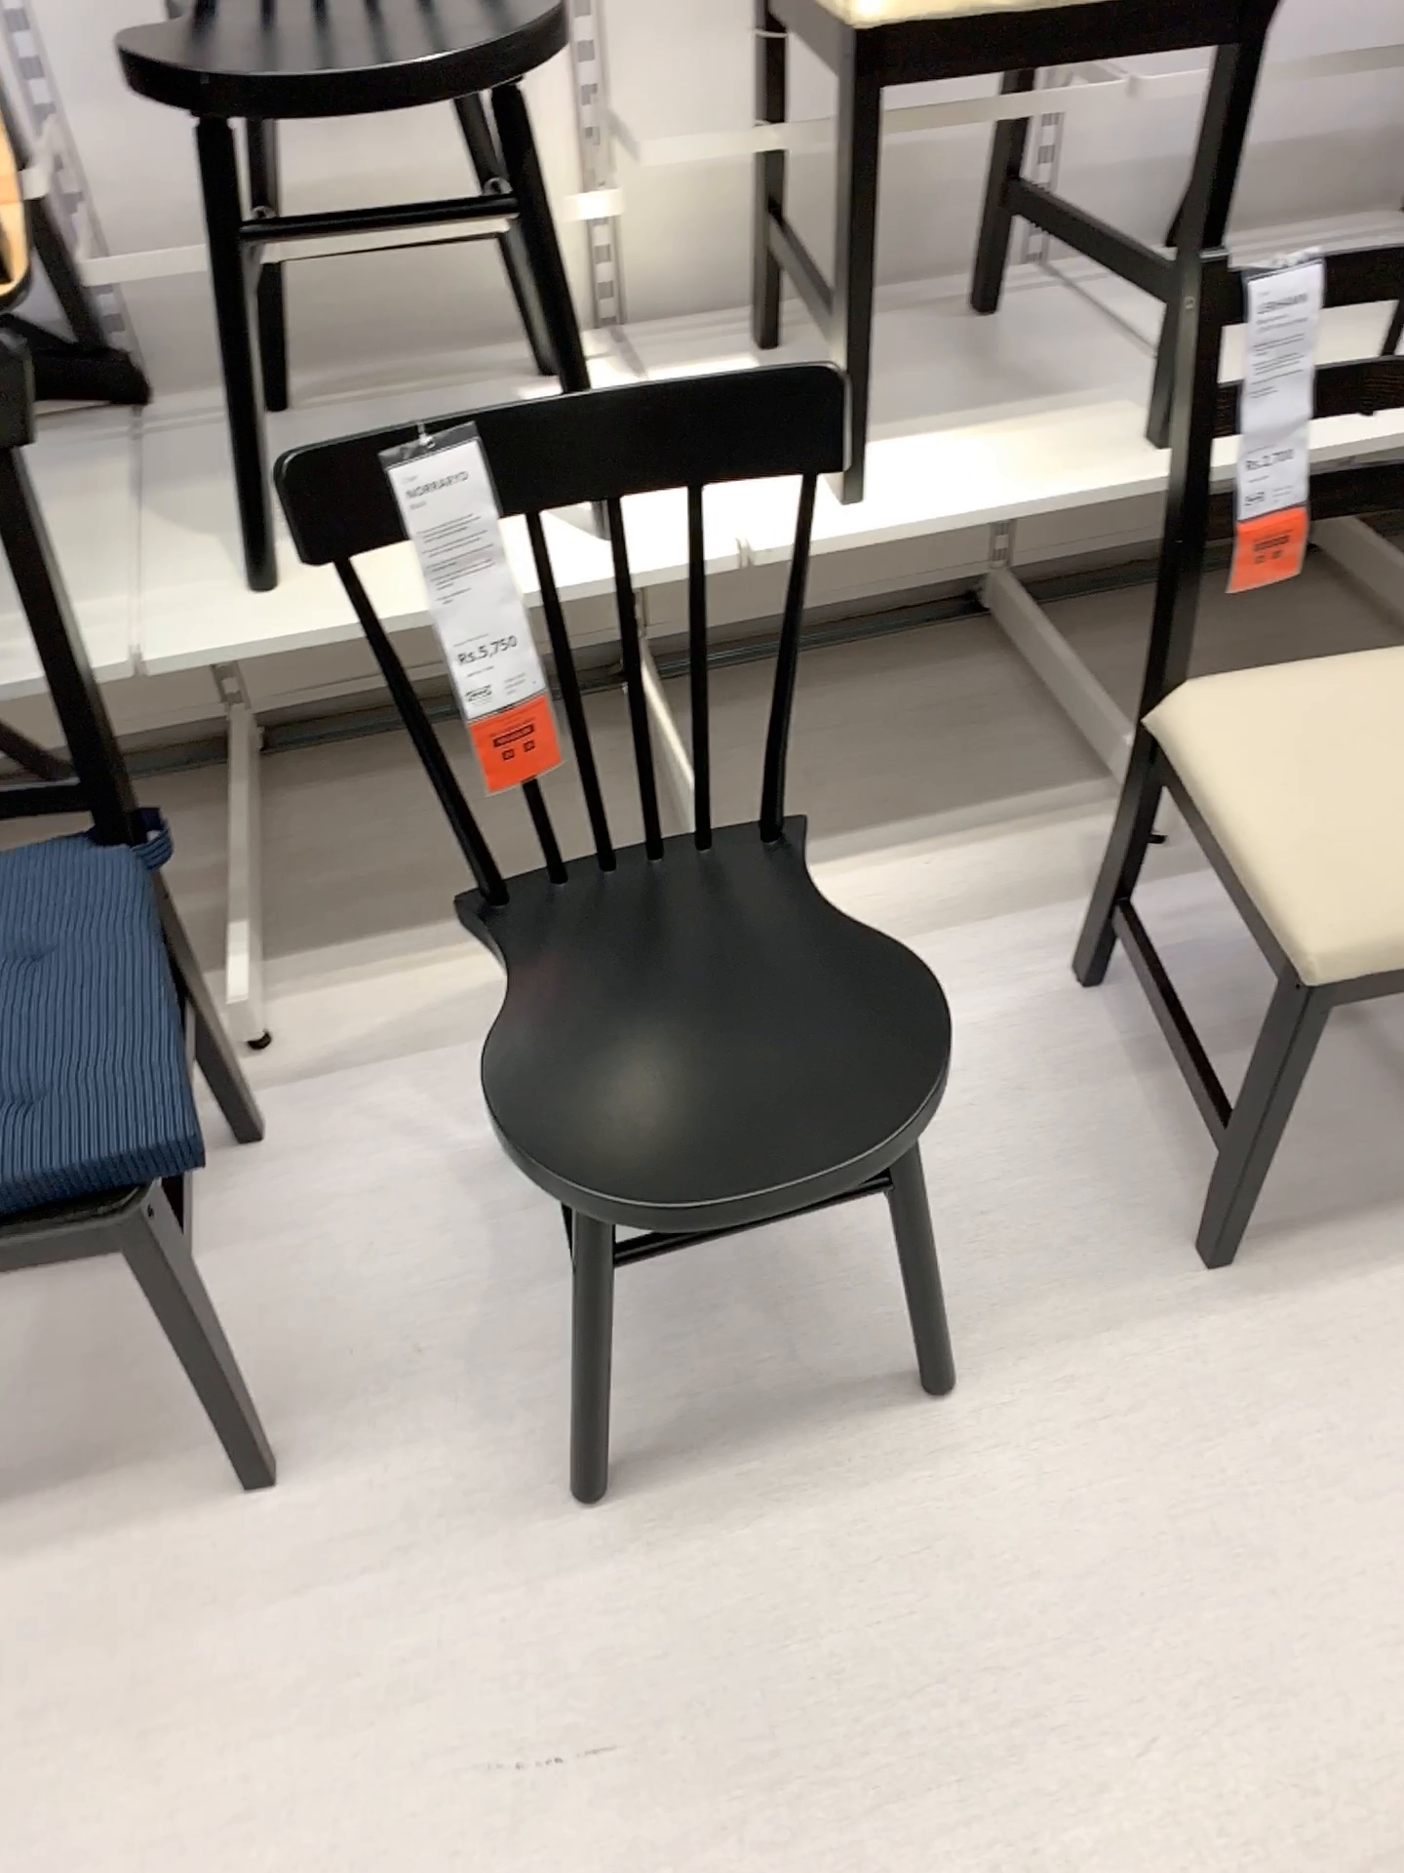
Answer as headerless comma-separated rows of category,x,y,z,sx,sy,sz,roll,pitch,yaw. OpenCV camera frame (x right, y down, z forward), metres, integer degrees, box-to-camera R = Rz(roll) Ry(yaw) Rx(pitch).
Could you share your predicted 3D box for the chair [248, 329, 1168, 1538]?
chair,-0.027,0.019,1.198,0.470,0.787,0.522,-13,45,-10
